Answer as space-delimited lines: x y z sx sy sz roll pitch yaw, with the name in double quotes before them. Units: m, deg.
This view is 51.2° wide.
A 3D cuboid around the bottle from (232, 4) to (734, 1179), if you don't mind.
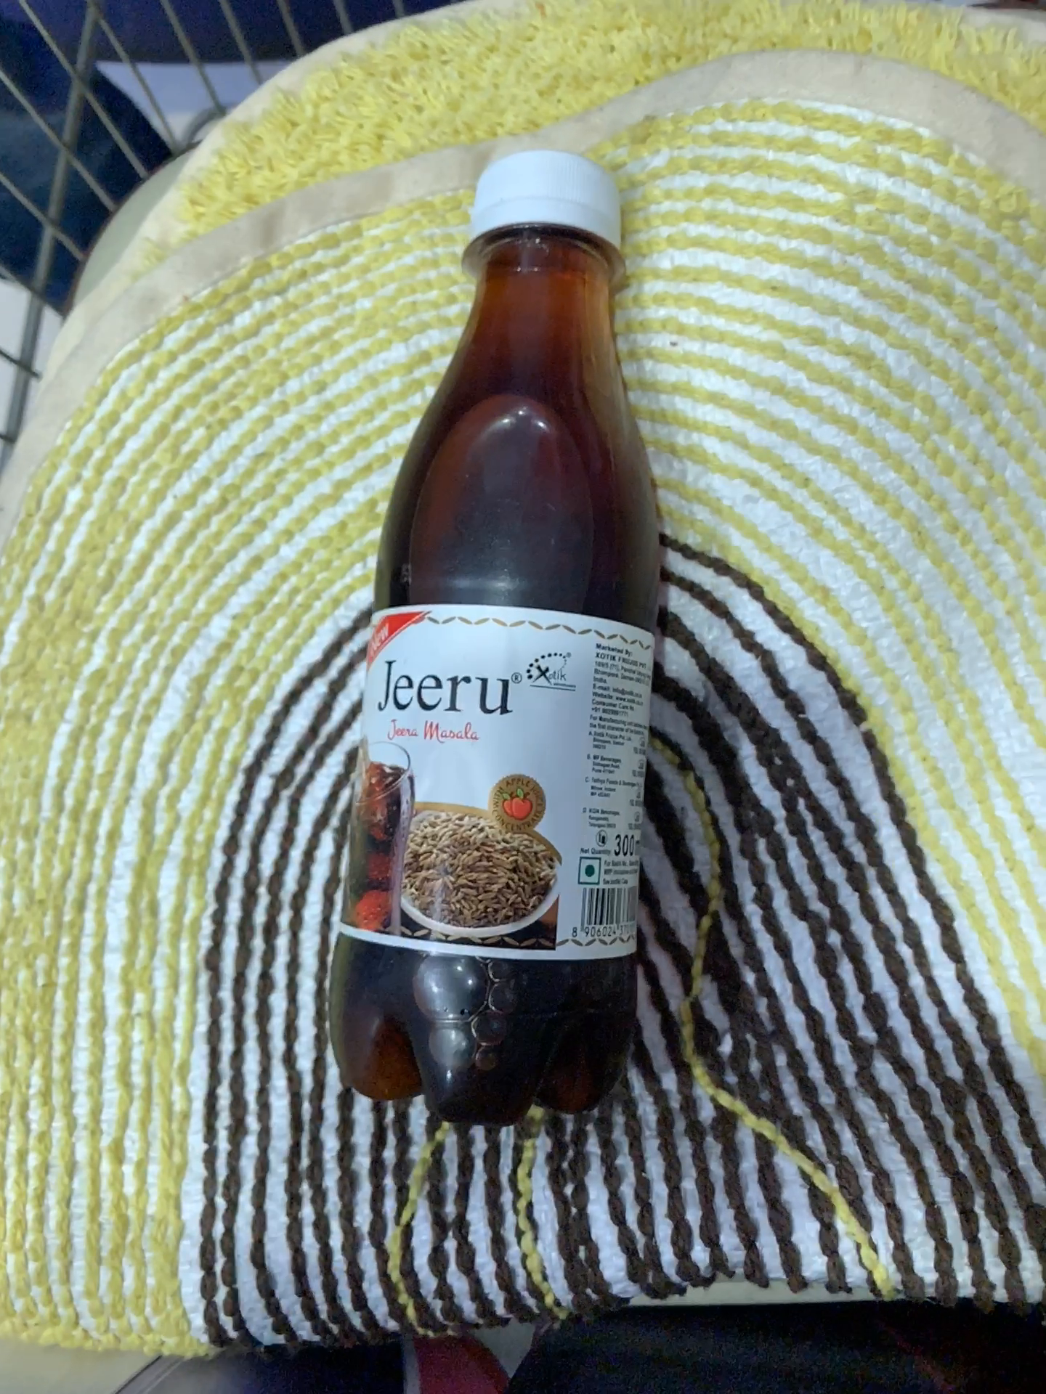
"bottle" -0.001 -0.018 0.202 0.060 0.060 0.180 3 85 18
